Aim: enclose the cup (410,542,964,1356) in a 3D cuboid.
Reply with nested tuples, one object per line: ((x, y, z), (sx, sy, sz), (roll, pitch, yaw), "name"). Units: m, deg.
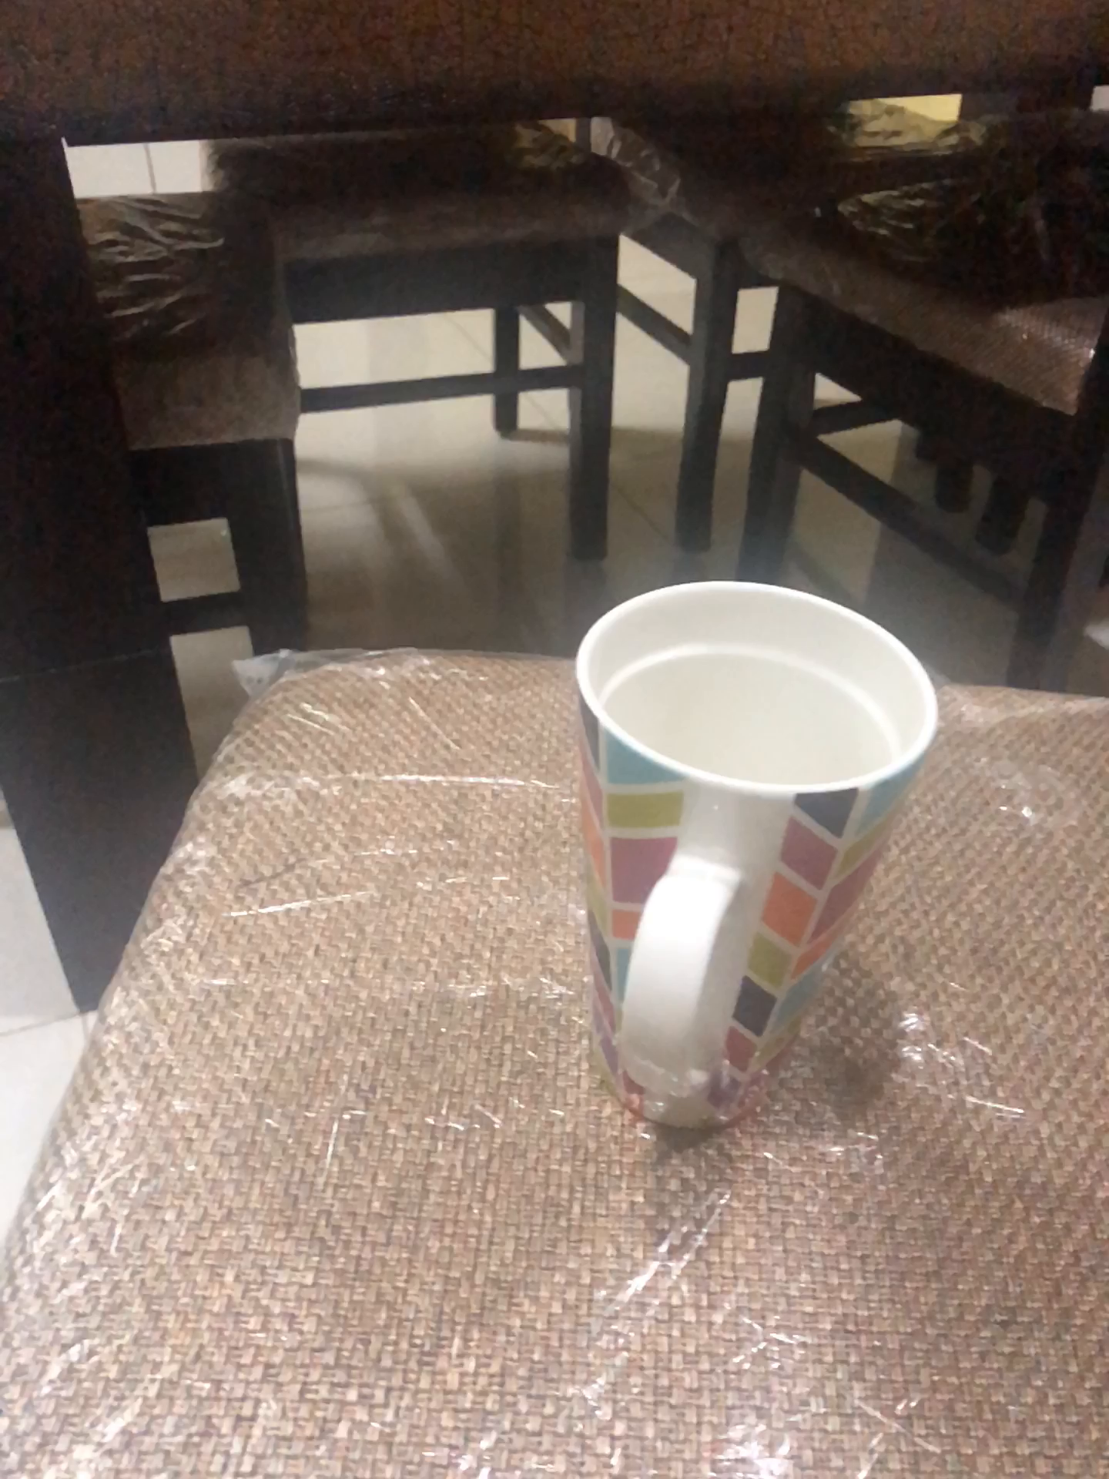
((0.033, 0.049, 0.323), (0.090, 0.139, 0.130), (18, 40, 16), "cup")
